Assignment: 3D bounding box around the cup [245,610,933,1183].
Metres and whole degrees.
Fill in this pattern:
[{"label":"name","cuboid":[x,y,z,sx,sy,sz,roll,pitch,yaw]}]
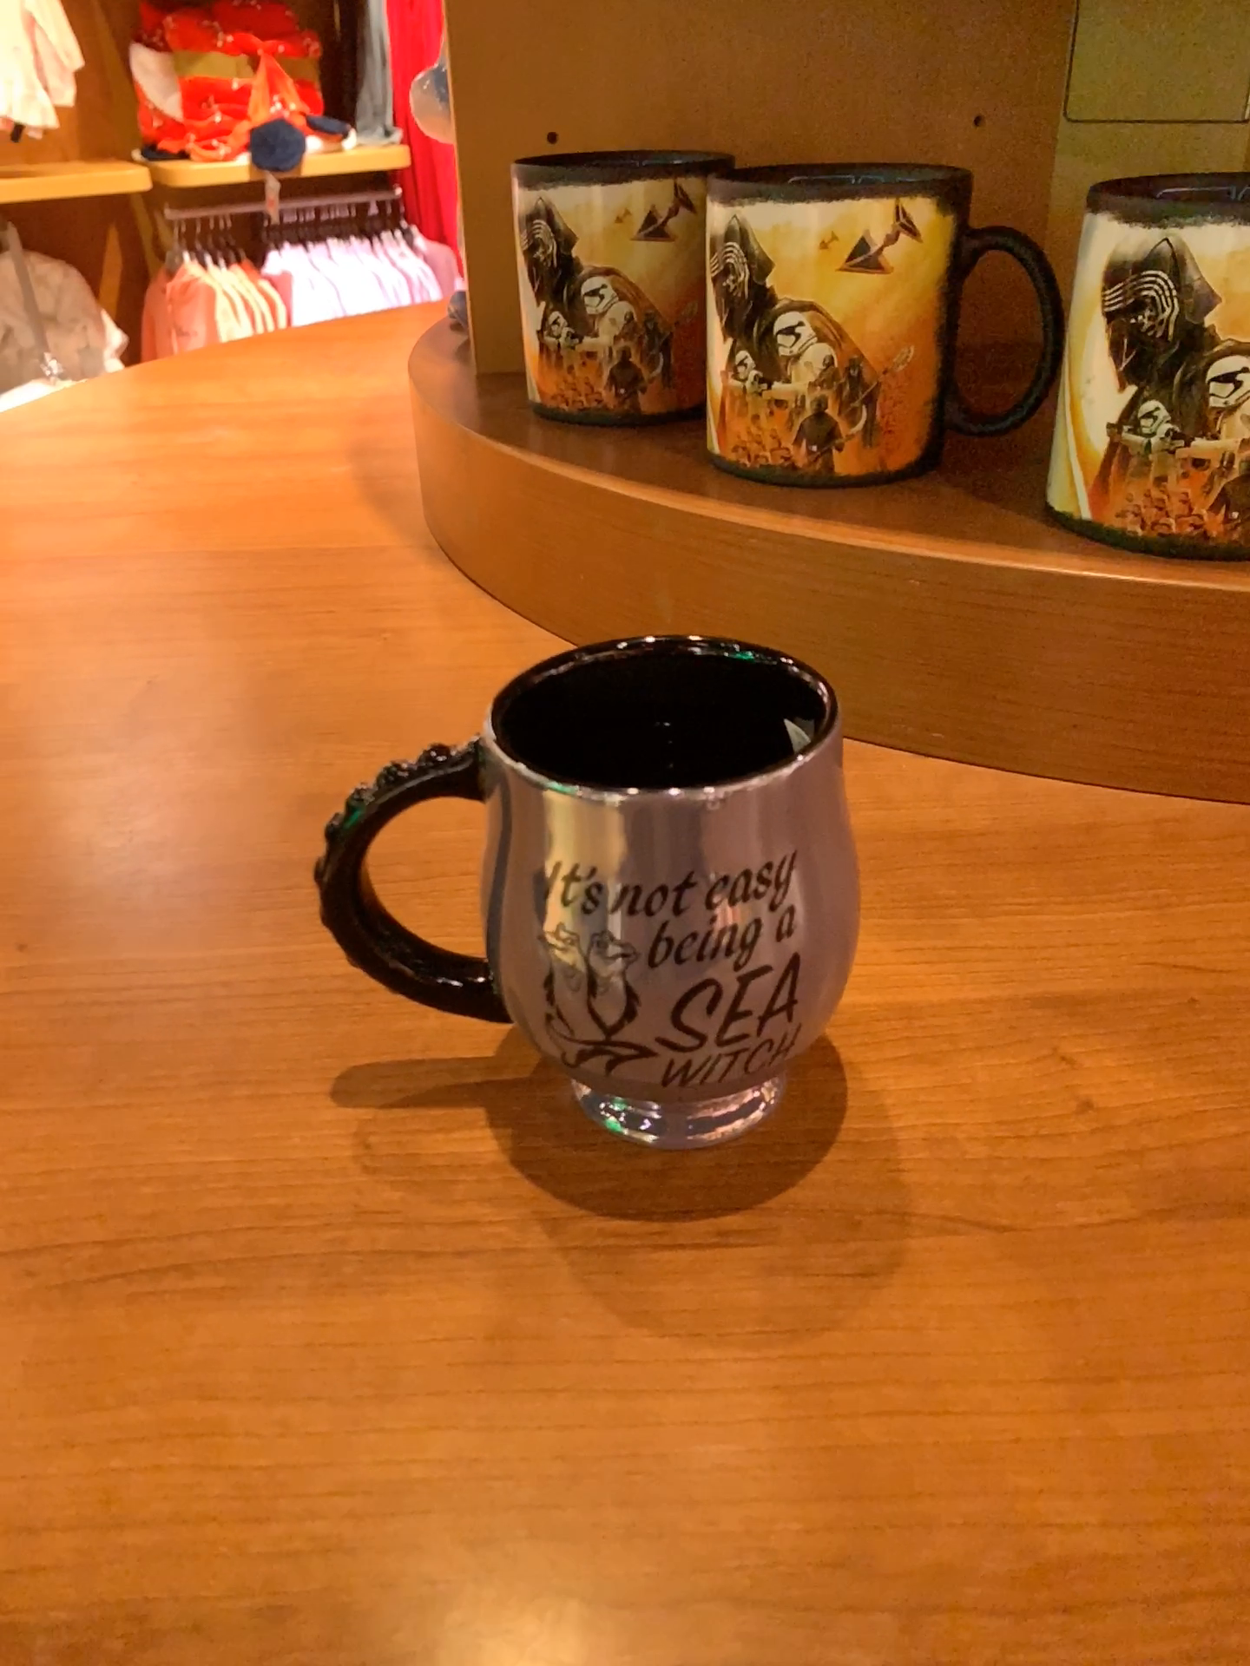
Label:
[{"label":"cup","cuboid":[-0.007,0.011,0.292,0.125,0.089,0.087,-3,31,-2]}]
